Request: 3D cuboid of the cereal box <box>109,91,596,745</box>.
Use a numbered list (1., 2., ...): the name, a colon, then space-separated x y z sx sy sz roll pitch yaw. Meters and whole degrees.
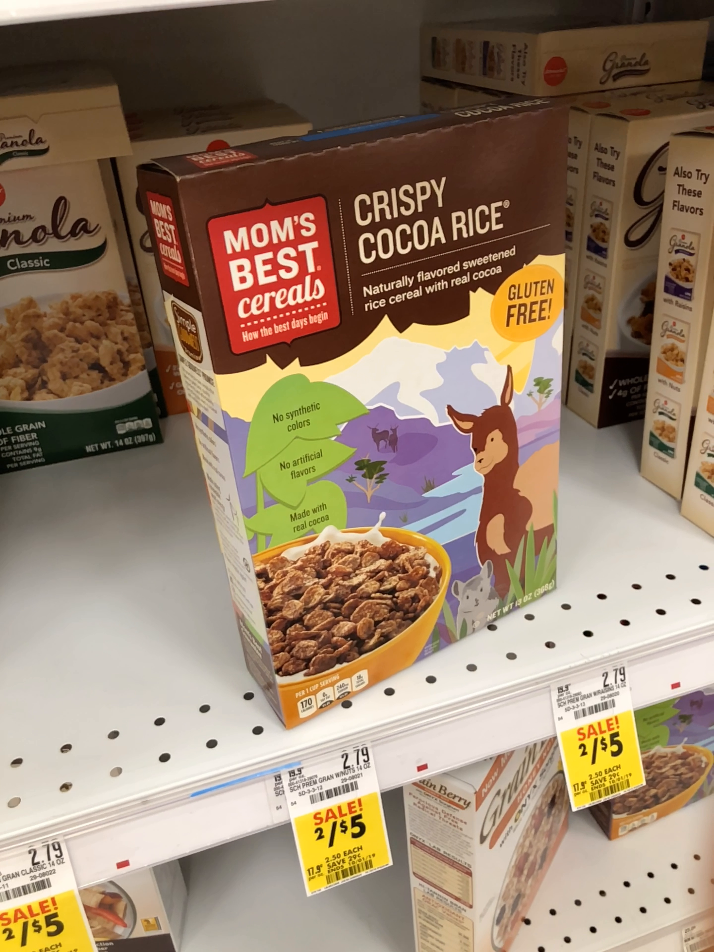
1. cereal box: 0.016 -0.032 0.410 0.200 0.279 0.080 -21 32 -24
